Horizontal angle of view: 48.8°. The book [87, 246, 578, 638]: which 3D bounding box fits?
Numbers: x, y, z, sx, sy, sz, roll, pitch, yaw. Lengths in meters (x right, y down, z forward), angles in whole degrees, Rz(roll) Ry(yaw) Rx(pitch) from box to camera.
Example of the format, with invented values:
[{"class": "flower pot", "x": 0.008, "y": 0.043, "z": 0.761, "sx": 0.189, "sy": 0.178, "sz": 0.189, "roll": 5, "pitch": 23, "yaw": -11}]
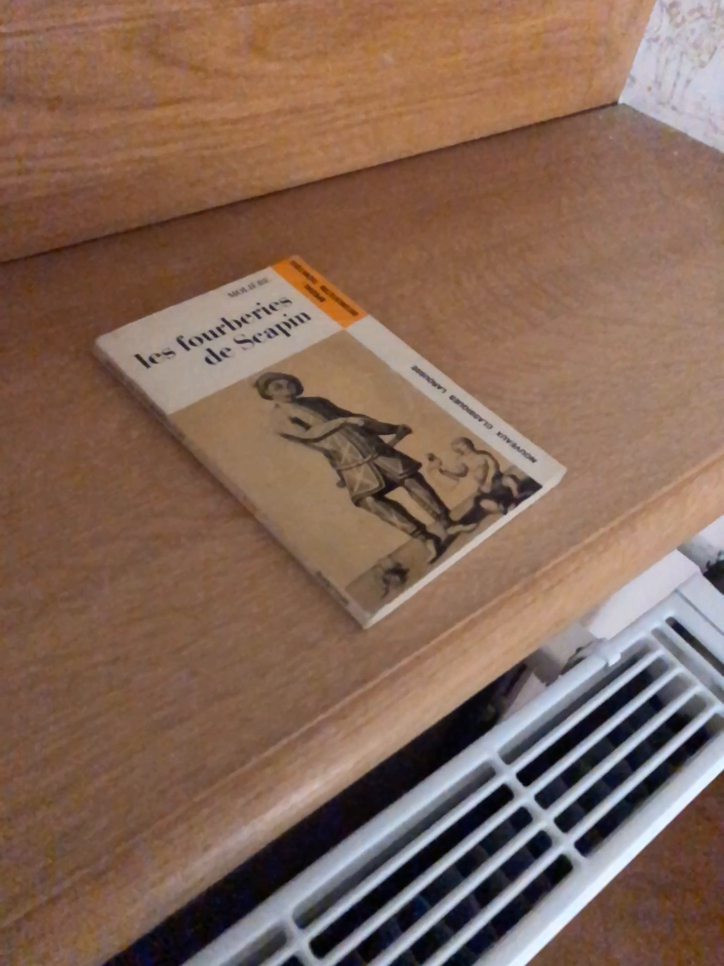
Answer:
[{"class": "book", "x": -0.014, "y": -0.032, "z": 0.334, "sx": 0.117, "sy": 0.015, "sz": 0.174, "roll": -32, "pitch": 62, "yaw": -32}]
